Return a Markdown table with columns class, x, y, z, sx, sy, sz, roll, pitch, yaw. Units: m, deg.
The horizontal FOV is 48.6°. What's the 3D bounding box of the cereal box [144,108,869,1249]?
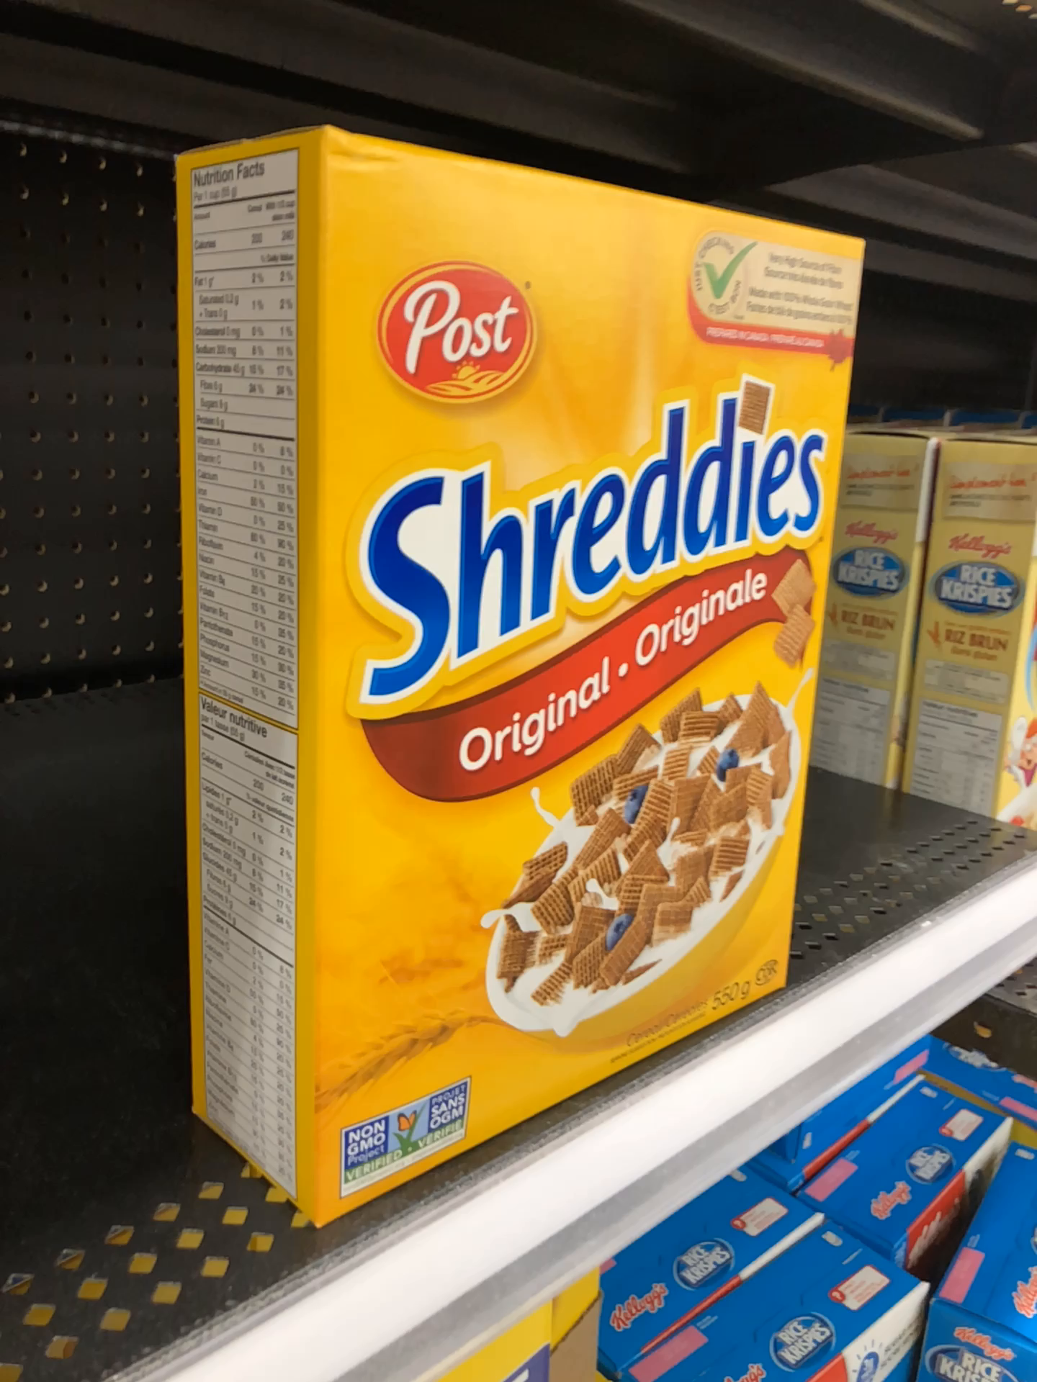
| class | x | y | z | sx | sy | sz | roll | pitch | yaw |
| --- | --- | --- | --- | --- | --- | --- | --- | --- | --- |
| cereal box | 0.005 | -0.010 | 0.349 | 0.210 | 0.259 | 0.070 | -11 | 19 | -43 |
